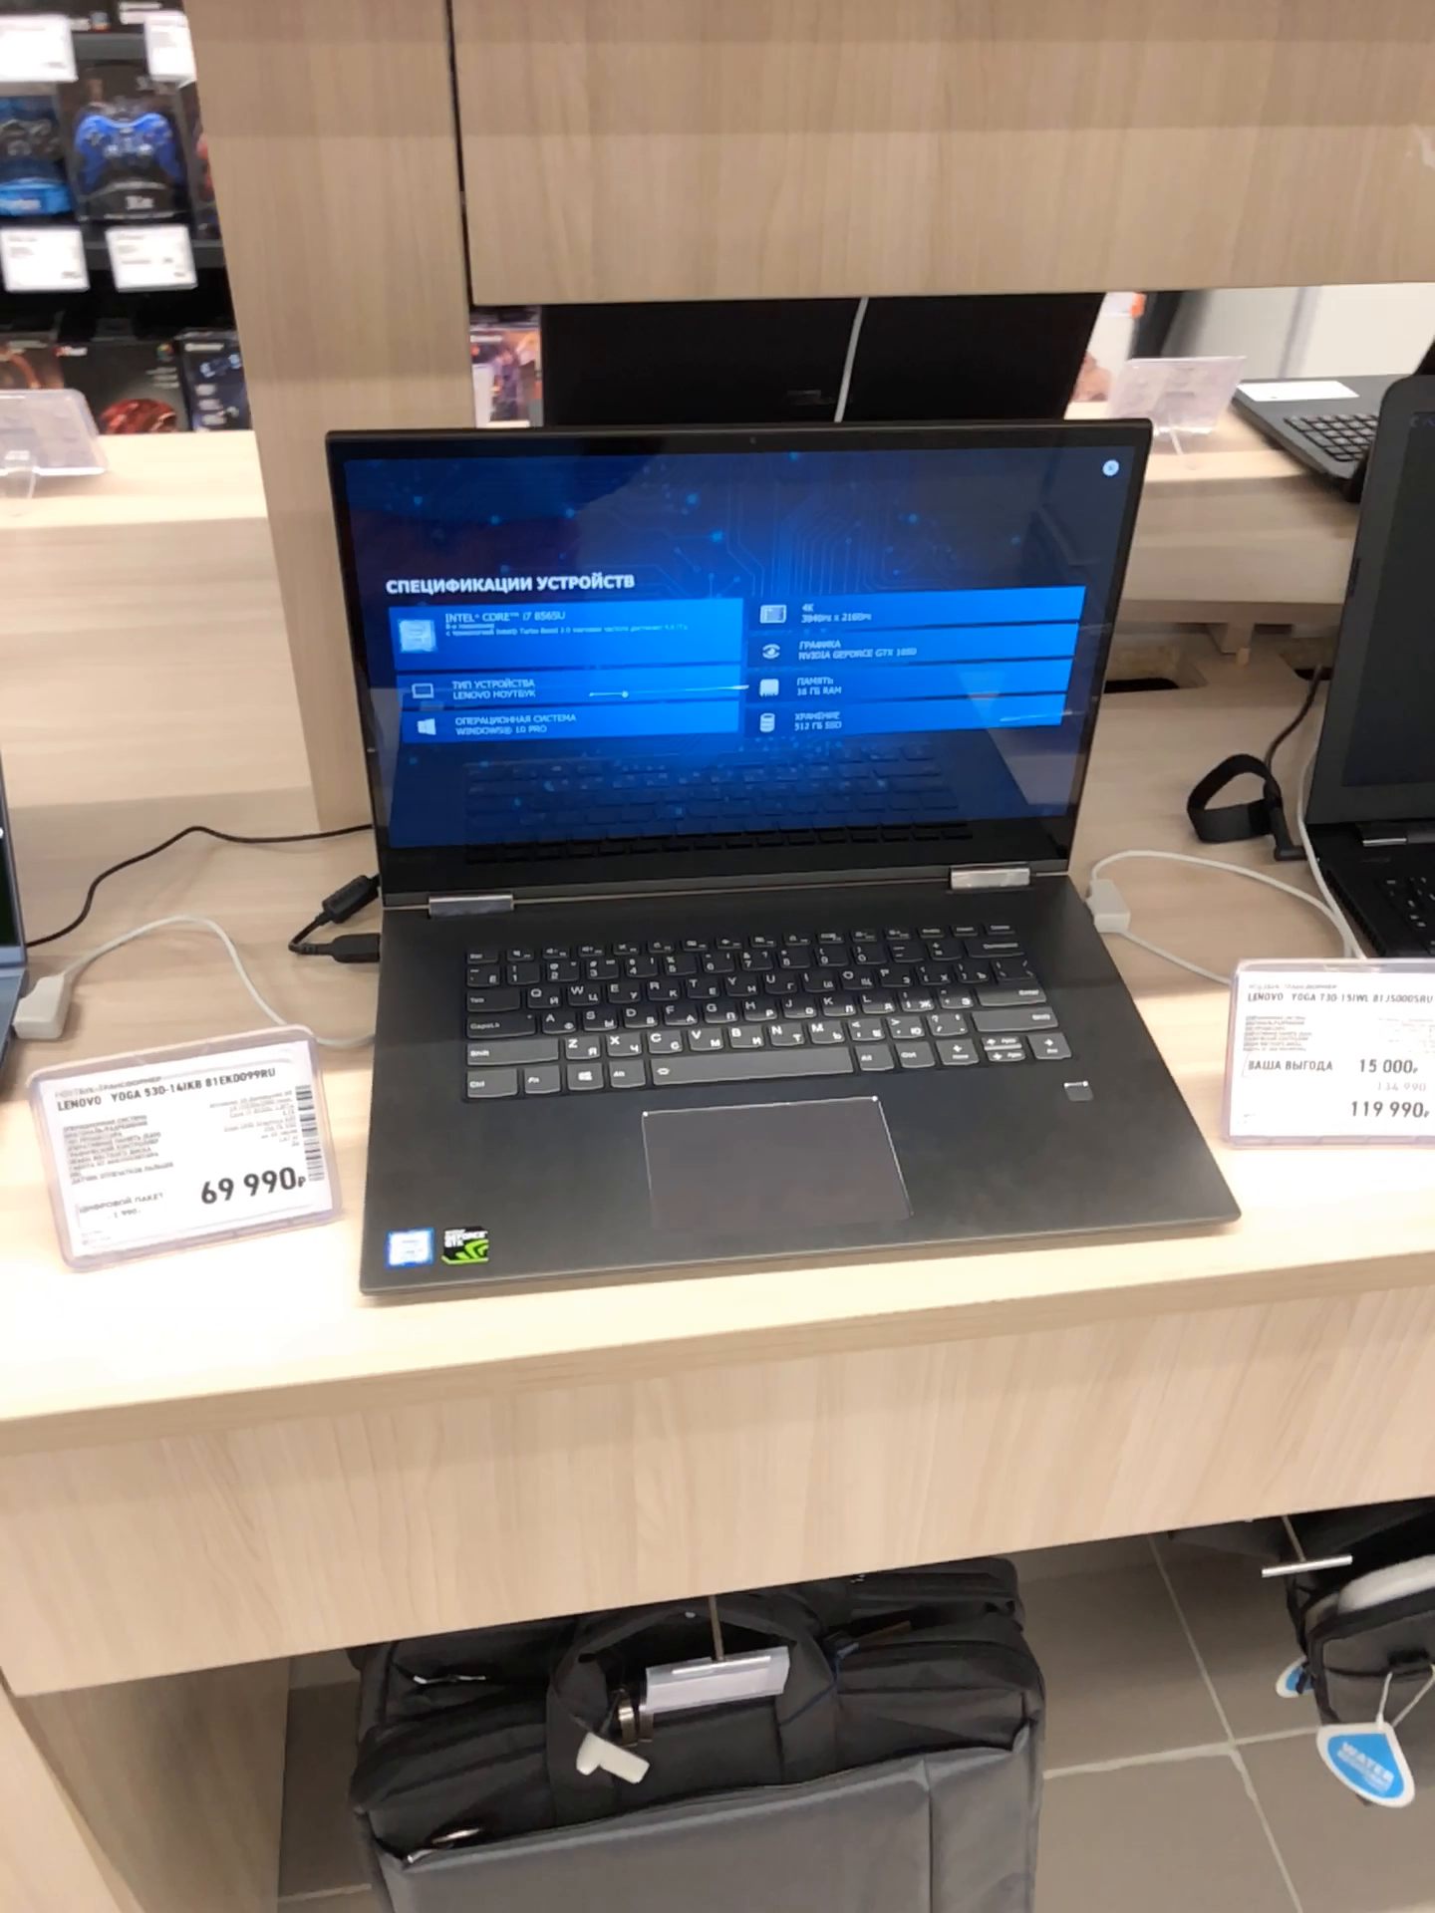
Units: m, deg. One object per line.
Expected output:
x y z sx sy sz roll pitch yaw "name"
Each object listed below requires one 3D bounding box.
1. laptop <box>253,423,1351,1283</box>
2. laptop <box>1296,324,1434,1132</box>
0.020 -0.057 0.676 0.358 0.240 0.253 -3 38 -6 "laptop"
0.493 -0.124 0.746 0.305 0.238 0.309 -3 35 0 "laptop"
